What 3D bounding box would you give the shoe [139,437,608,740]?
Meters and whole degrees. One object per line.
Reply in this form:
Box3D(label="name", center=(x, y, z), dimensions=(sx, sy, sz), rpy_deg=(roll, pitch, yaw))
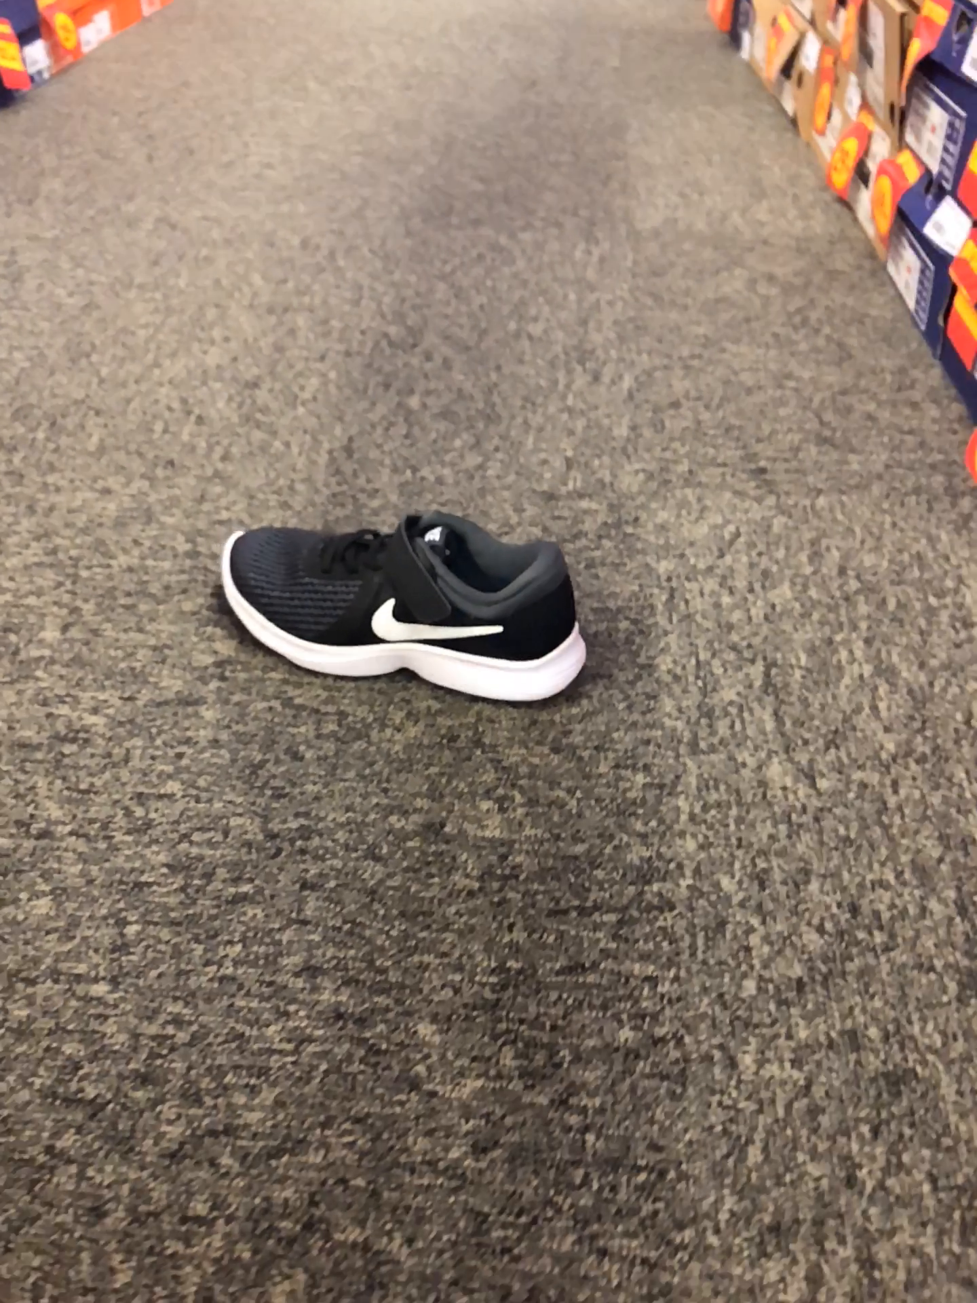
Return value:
Box3D(label="shoe", center=(-0.057, -0.038, 0.568), dimensions=(0.217, 0.080, 0.091), rpy_deg=(13, 42, 16))
